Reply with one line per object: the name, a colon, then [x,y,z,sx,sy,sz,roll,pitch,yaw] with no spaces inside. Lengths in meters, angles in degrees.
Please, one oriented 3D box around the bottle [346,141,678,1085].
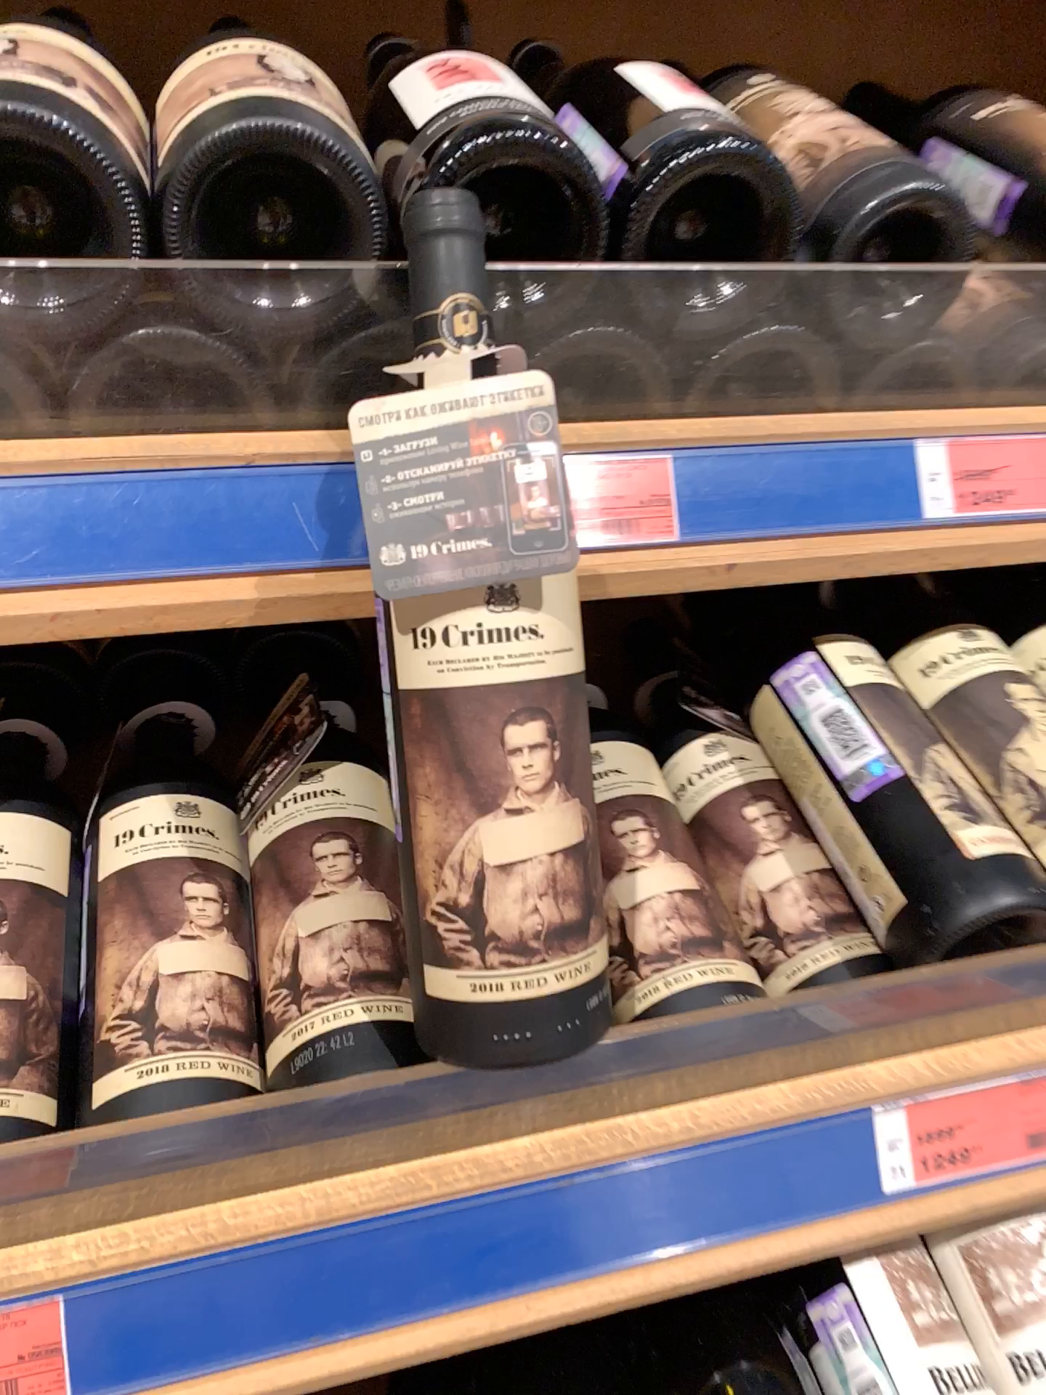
bottle: [-0.006,-0.028,0.395,0.086,0.300,0.081,-3,5,0]
